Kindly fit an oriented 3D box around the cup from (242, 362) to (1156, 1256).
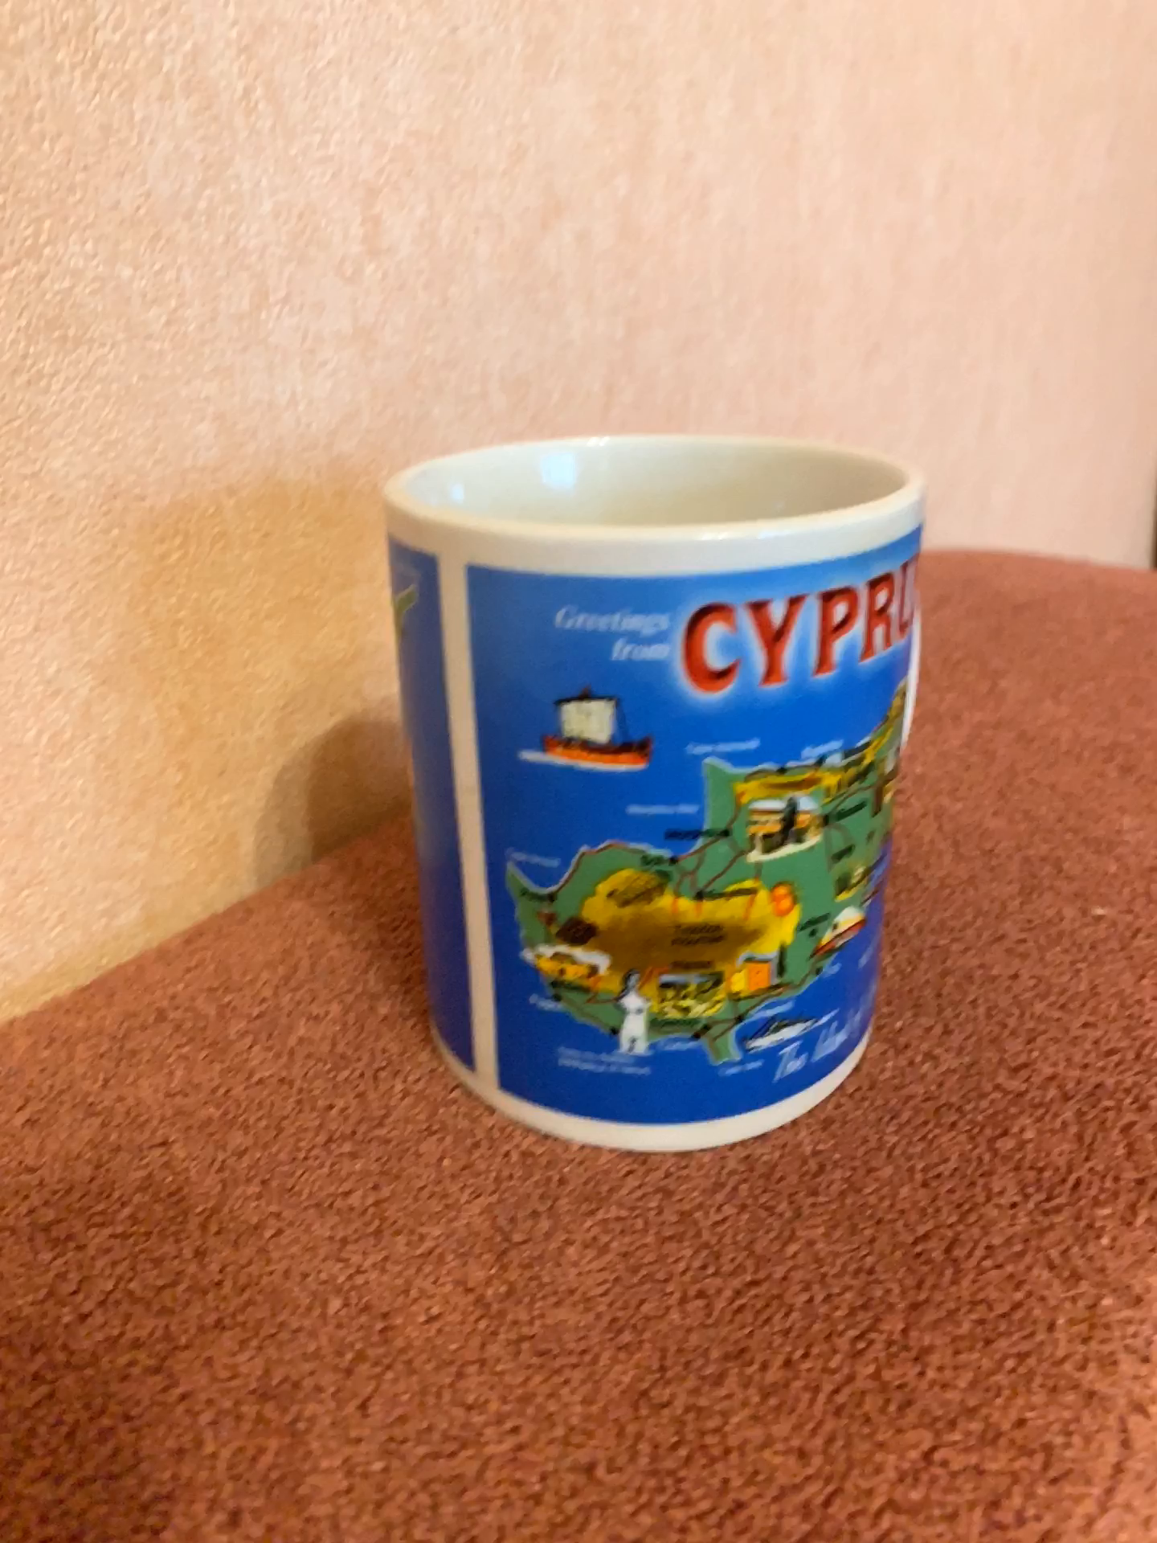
[{"bbox_3d":[0.025,-0.011,0.201,0.085,0.091,0.119,21,33,37],"label":"cup"}]
